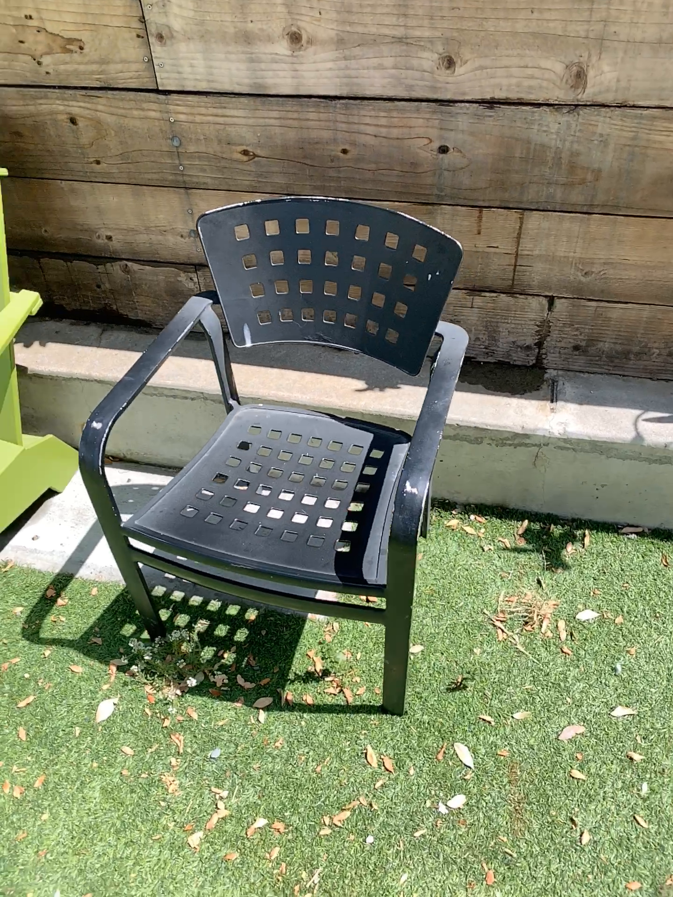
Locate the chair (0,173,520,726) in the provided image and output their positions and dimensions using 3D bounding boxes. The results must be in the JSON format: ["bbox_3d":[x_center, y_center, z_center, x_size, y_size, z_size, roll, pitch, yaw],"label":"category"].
[{"bbox_3d":[-0.061,0.006,1.203,0.591,0.716,0.522,11,47,14],"label":"chair"}]
